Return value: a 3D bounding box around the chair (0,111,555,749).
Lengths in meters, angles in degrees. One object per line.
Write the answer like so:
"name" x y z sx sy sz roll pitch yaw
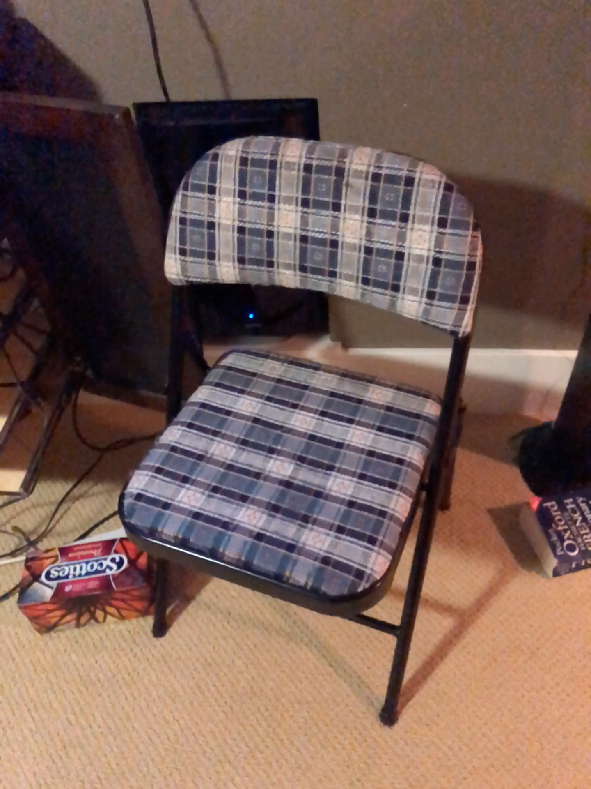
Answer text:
"chair" 0.020 0.059 1.011 0.501 0.705 0.563 15 51 19
